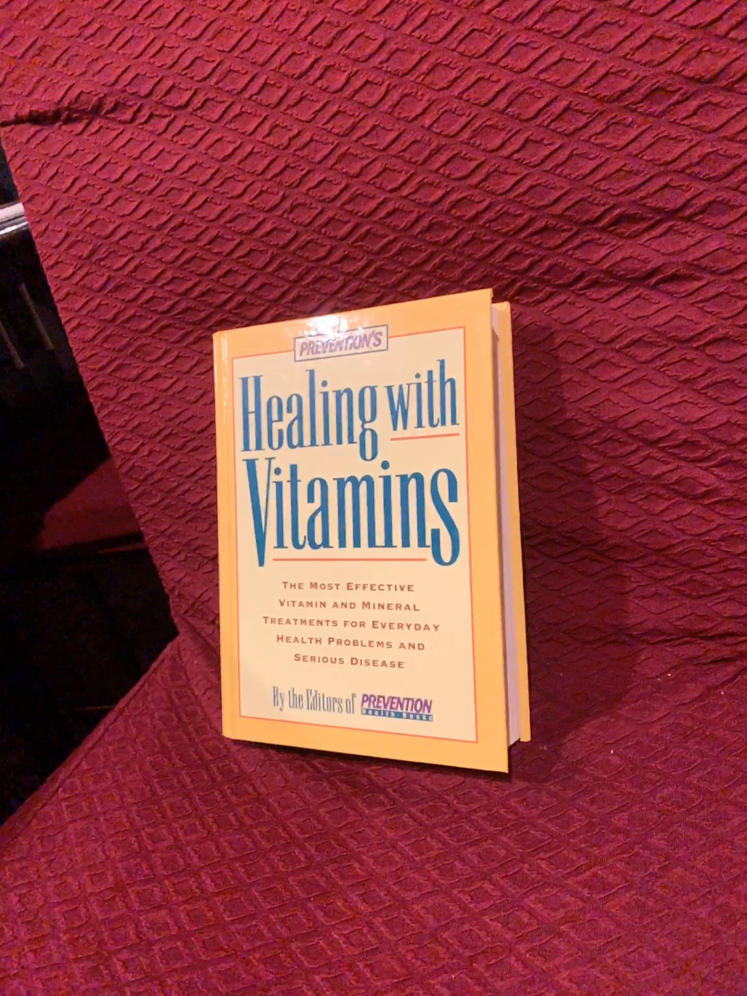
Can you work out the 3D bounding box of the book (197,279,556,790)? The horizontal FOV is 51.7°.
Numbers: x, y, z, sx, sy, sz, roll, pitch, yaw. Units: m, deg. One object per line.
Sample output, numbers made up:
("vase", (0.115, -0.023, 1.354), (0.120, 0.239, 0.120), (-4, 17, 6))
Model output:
("book", (-0.005, 0.020, 0.423), (0.190, 0.240, 0.040), (-3, -2, 27))
